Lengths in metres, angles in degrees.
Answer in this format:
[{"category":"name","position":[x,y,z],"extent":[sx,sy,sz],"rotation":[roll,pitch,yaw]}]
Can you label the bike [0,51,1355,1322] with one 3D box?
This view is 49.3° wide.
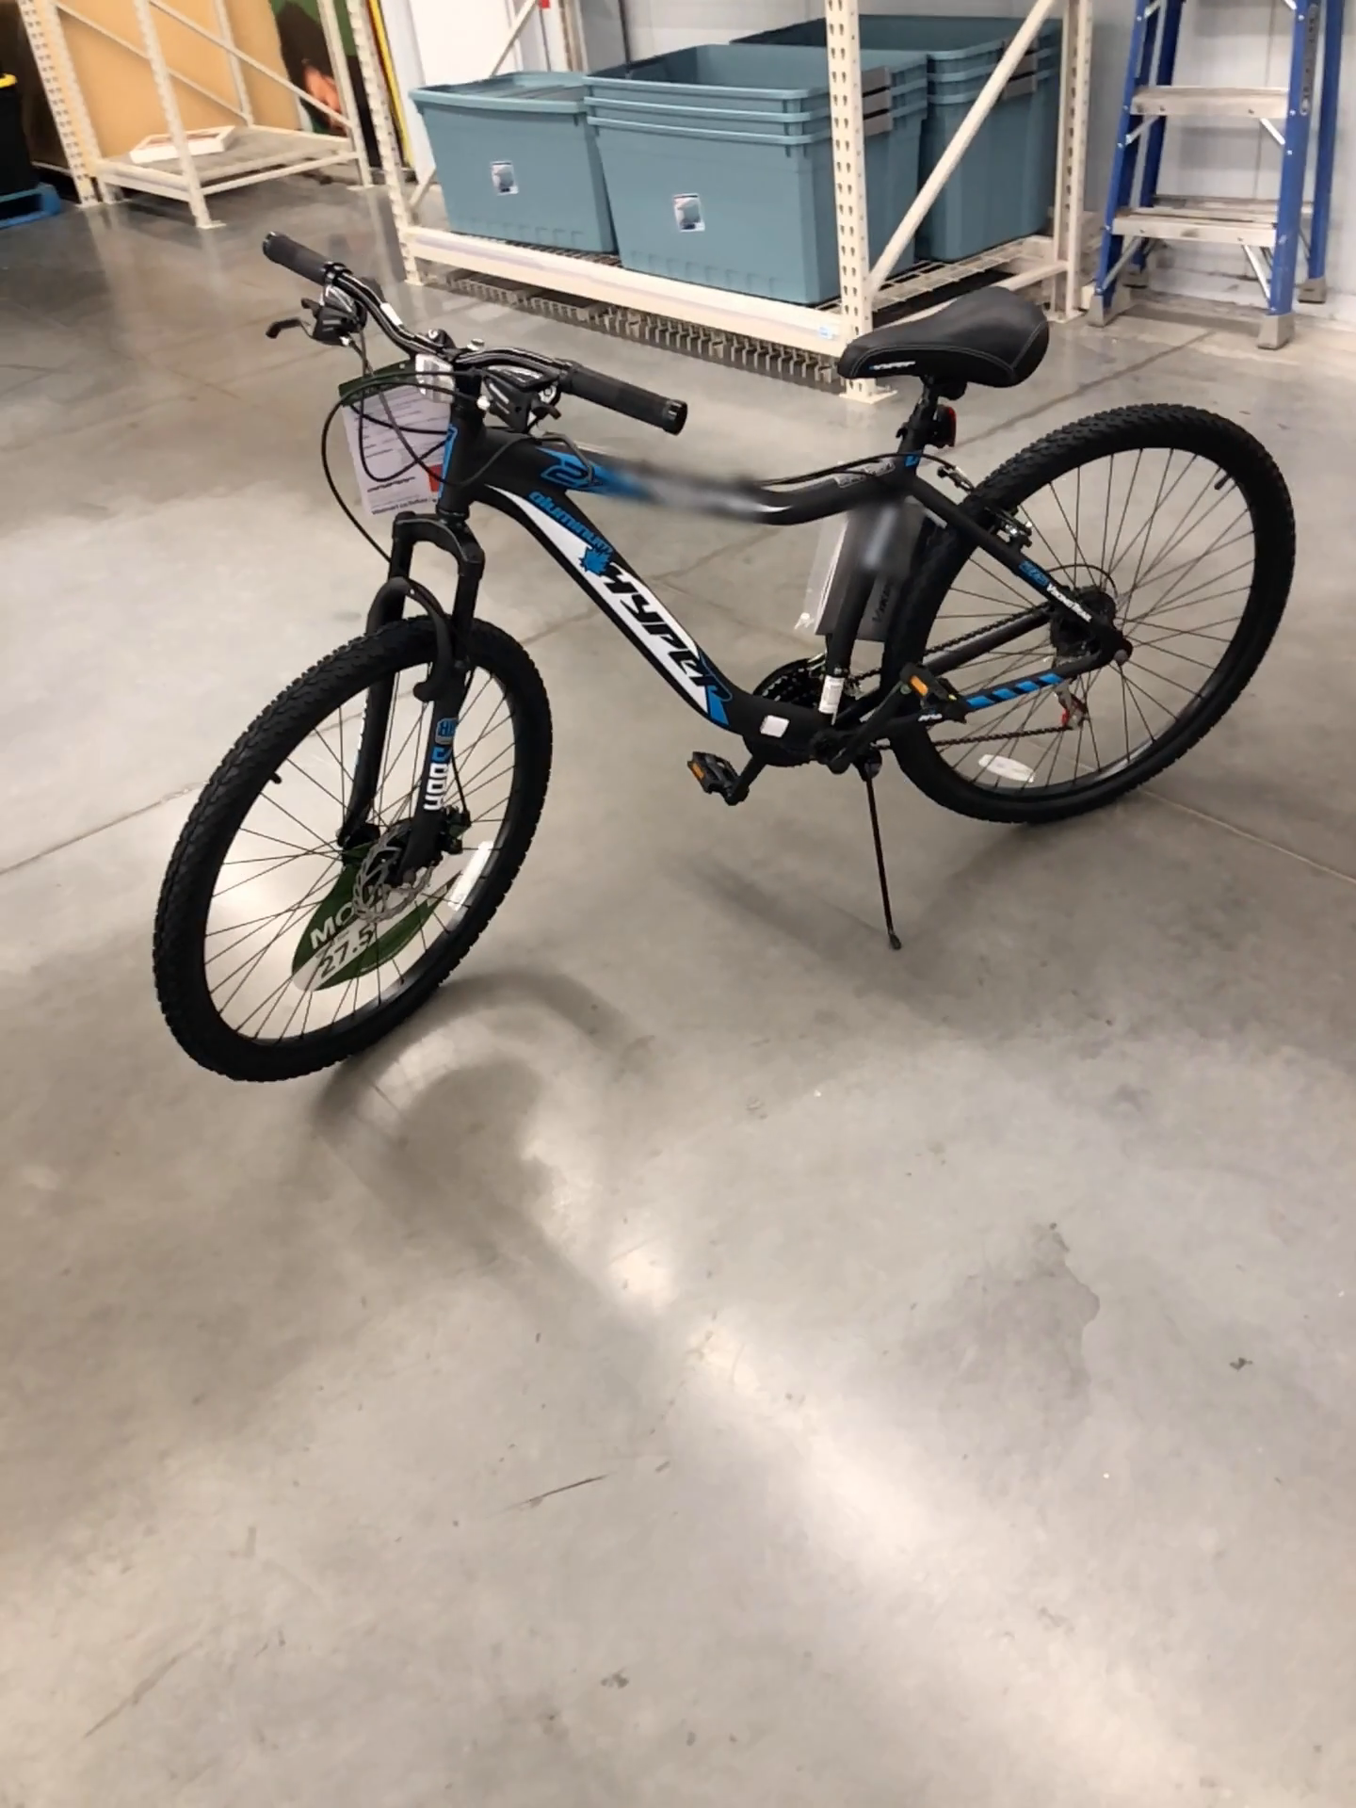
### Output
[{"category":"bike","position":[0.123,-0.348,1.894],"extent":[1.633,0.986,0.575],"rotation":[-22,39,-17]}]
